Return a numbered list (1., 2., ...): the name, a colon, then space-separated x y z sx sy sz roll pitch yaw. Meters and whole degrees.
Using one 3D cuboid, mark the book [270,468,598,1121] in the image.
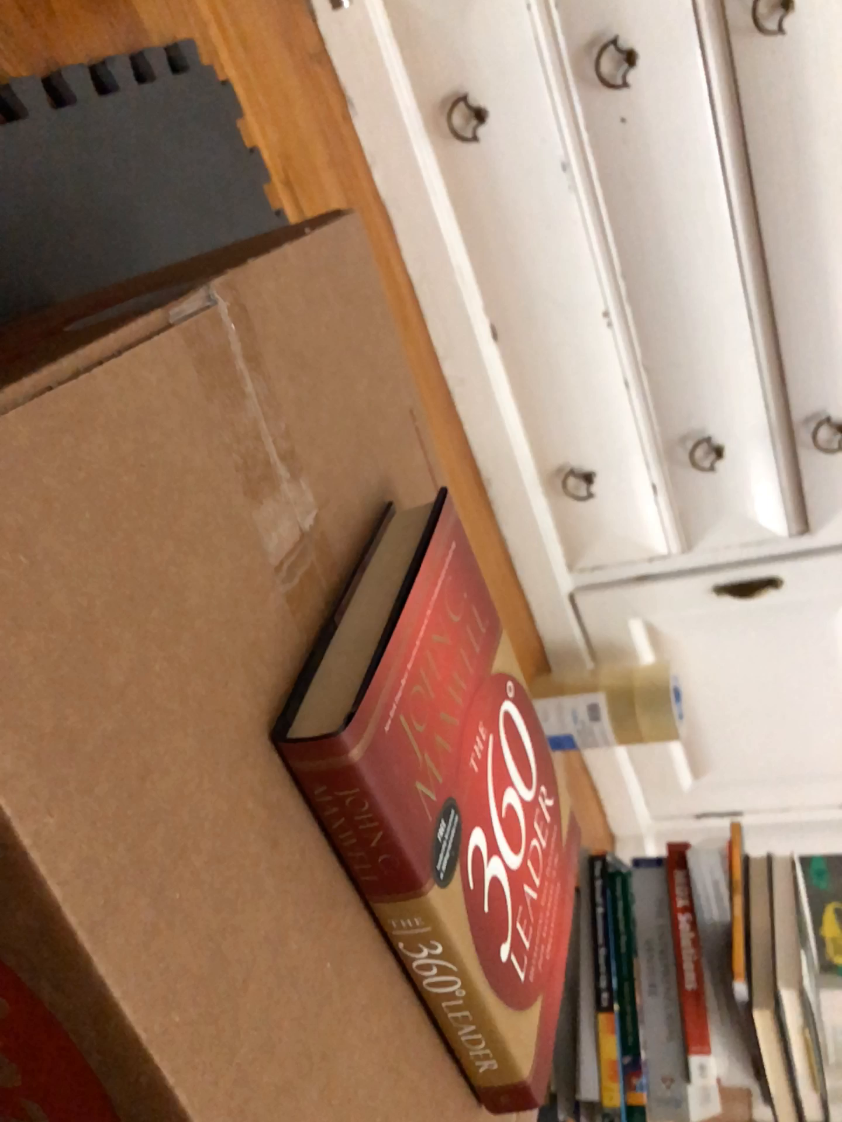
1. book: 0.027 0.107 0.427 0.181 0.030 0.240 -67 141 -53
